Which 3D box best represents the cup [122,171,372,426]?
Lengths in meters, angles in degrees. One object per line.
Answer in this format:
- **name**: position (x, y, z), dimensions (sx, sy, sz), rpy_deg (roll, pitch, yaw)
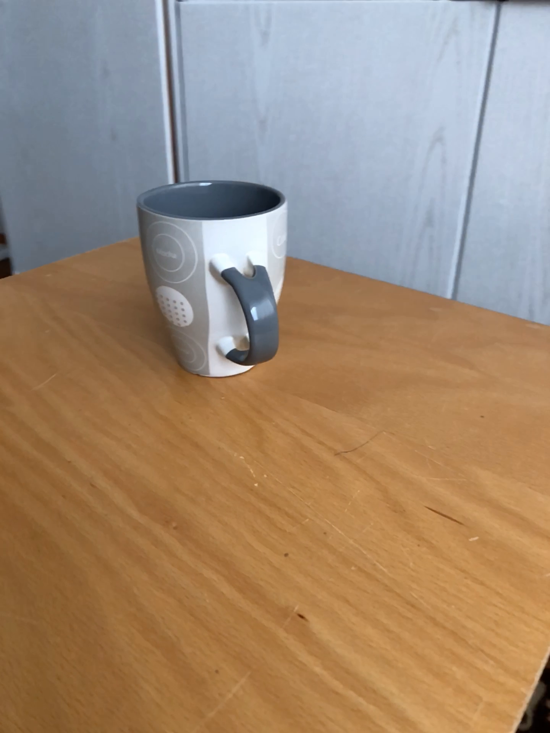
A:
- **cup**: position (-0.021, -0.048, 0.346), dimensions (0.085, 0.093, 0.127), rpy_deg (-15, 32, -26)
